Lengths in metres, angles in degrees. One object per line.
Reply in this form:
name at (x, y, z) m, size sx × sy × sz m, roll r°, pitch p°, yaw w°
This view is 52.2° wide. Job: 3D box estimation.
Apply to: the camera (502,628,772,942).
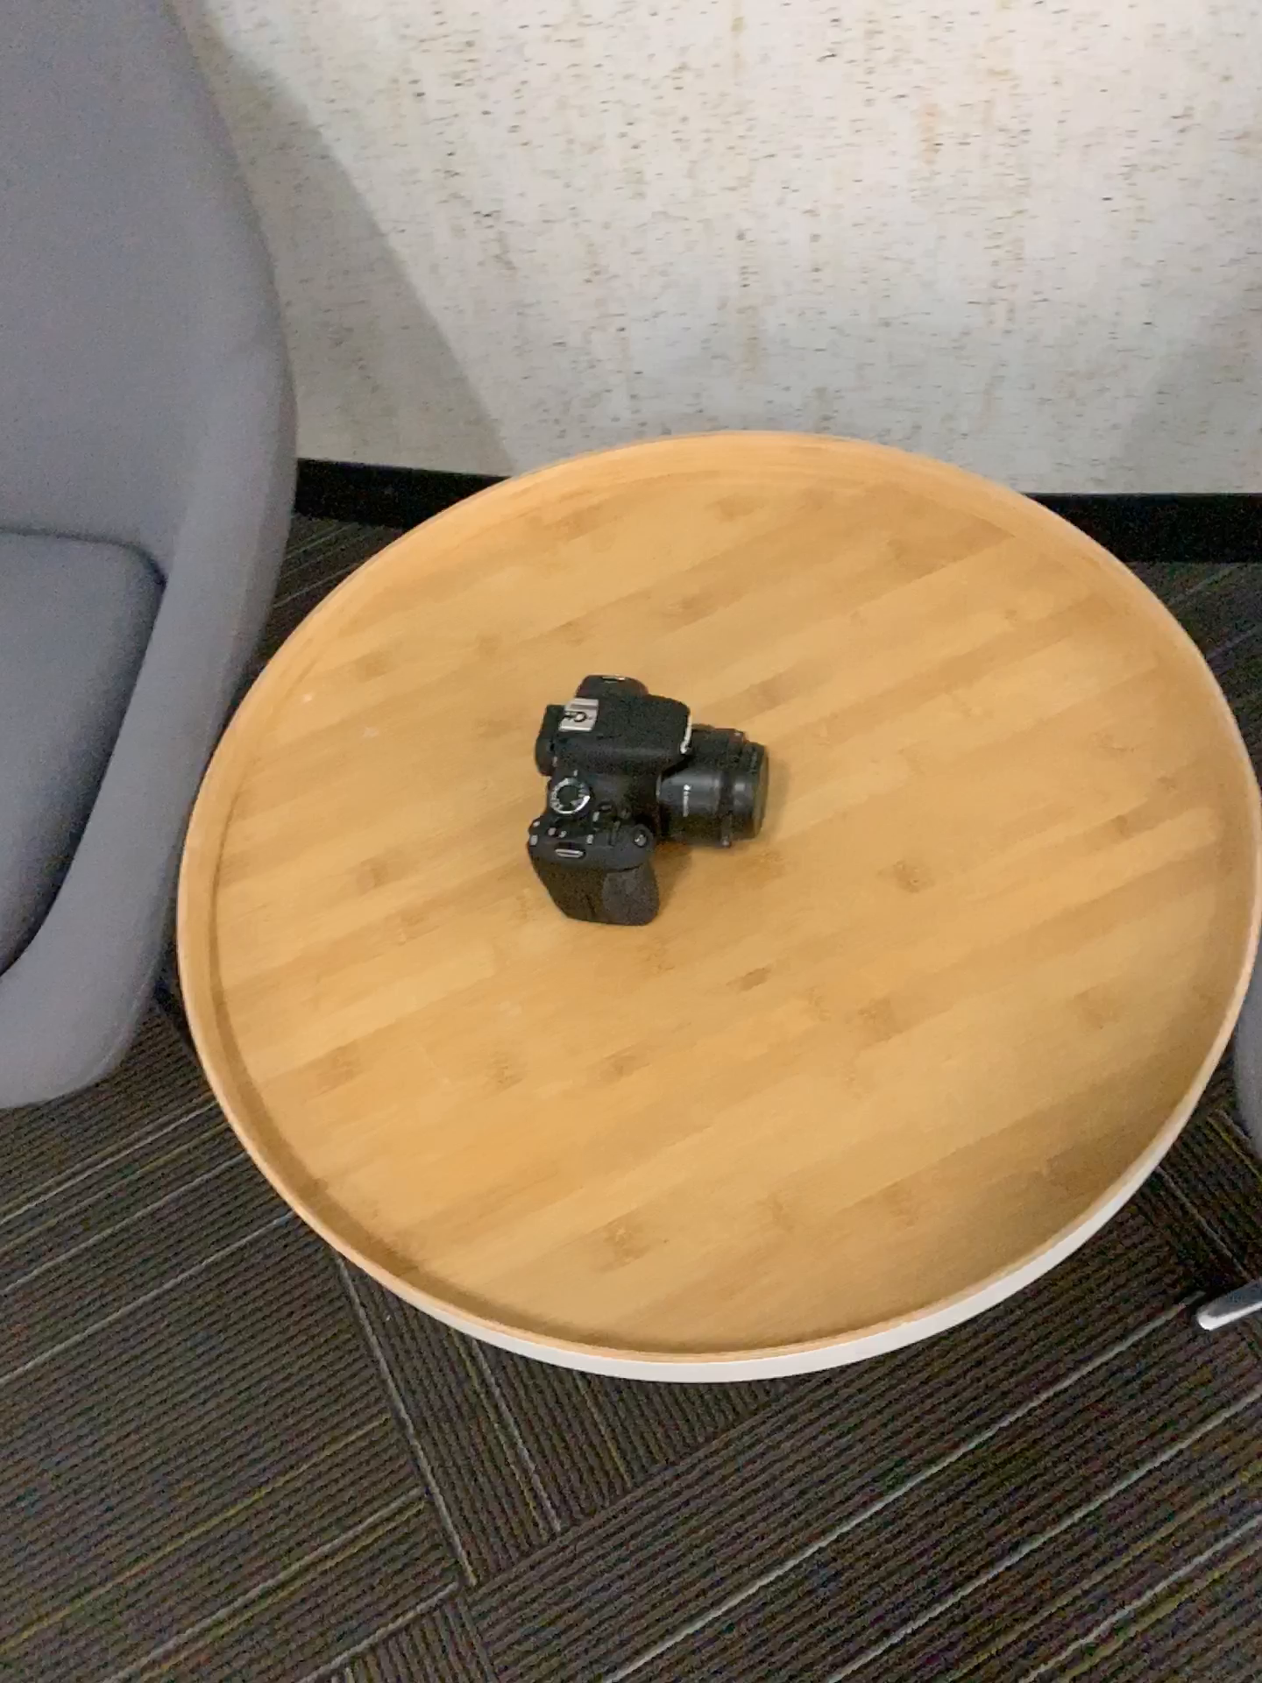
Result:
camera at (0.010, -0.032, 0.717) m, size 0.117 × 0.100 × 0.134 m, roll 5°, pitch 61°, yaw 12°
